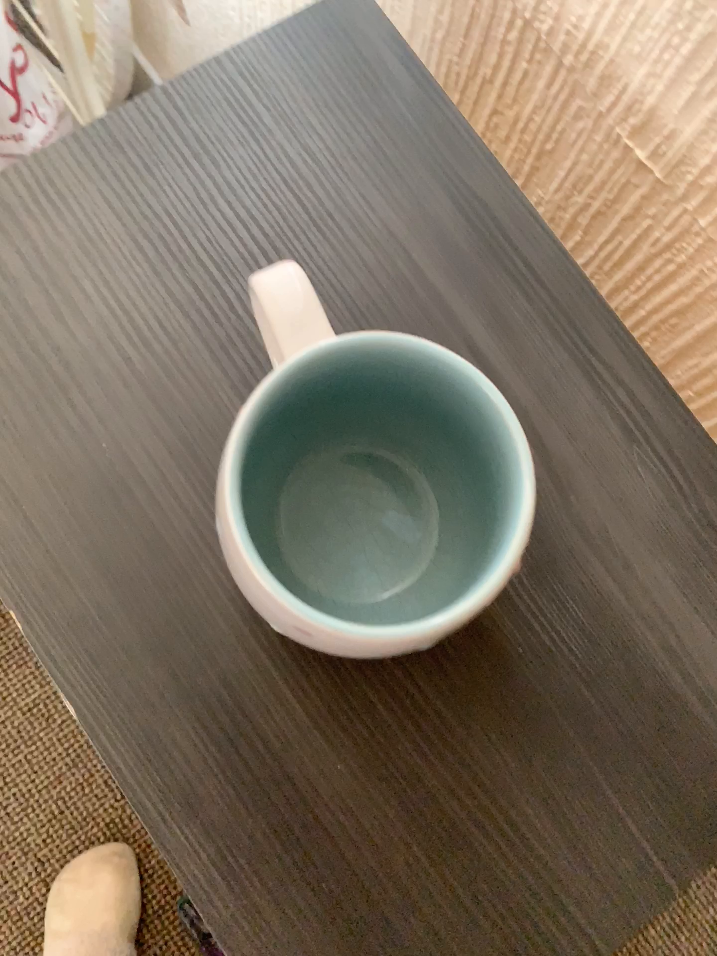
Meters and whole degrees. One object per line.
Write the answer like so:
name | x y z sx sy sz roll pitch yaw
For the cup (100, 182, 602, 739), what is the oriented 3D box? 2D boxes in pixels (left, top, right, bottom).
cup | -0.007 -0.002 0.250 0.100 0.100 0.130 -18 82 -8
